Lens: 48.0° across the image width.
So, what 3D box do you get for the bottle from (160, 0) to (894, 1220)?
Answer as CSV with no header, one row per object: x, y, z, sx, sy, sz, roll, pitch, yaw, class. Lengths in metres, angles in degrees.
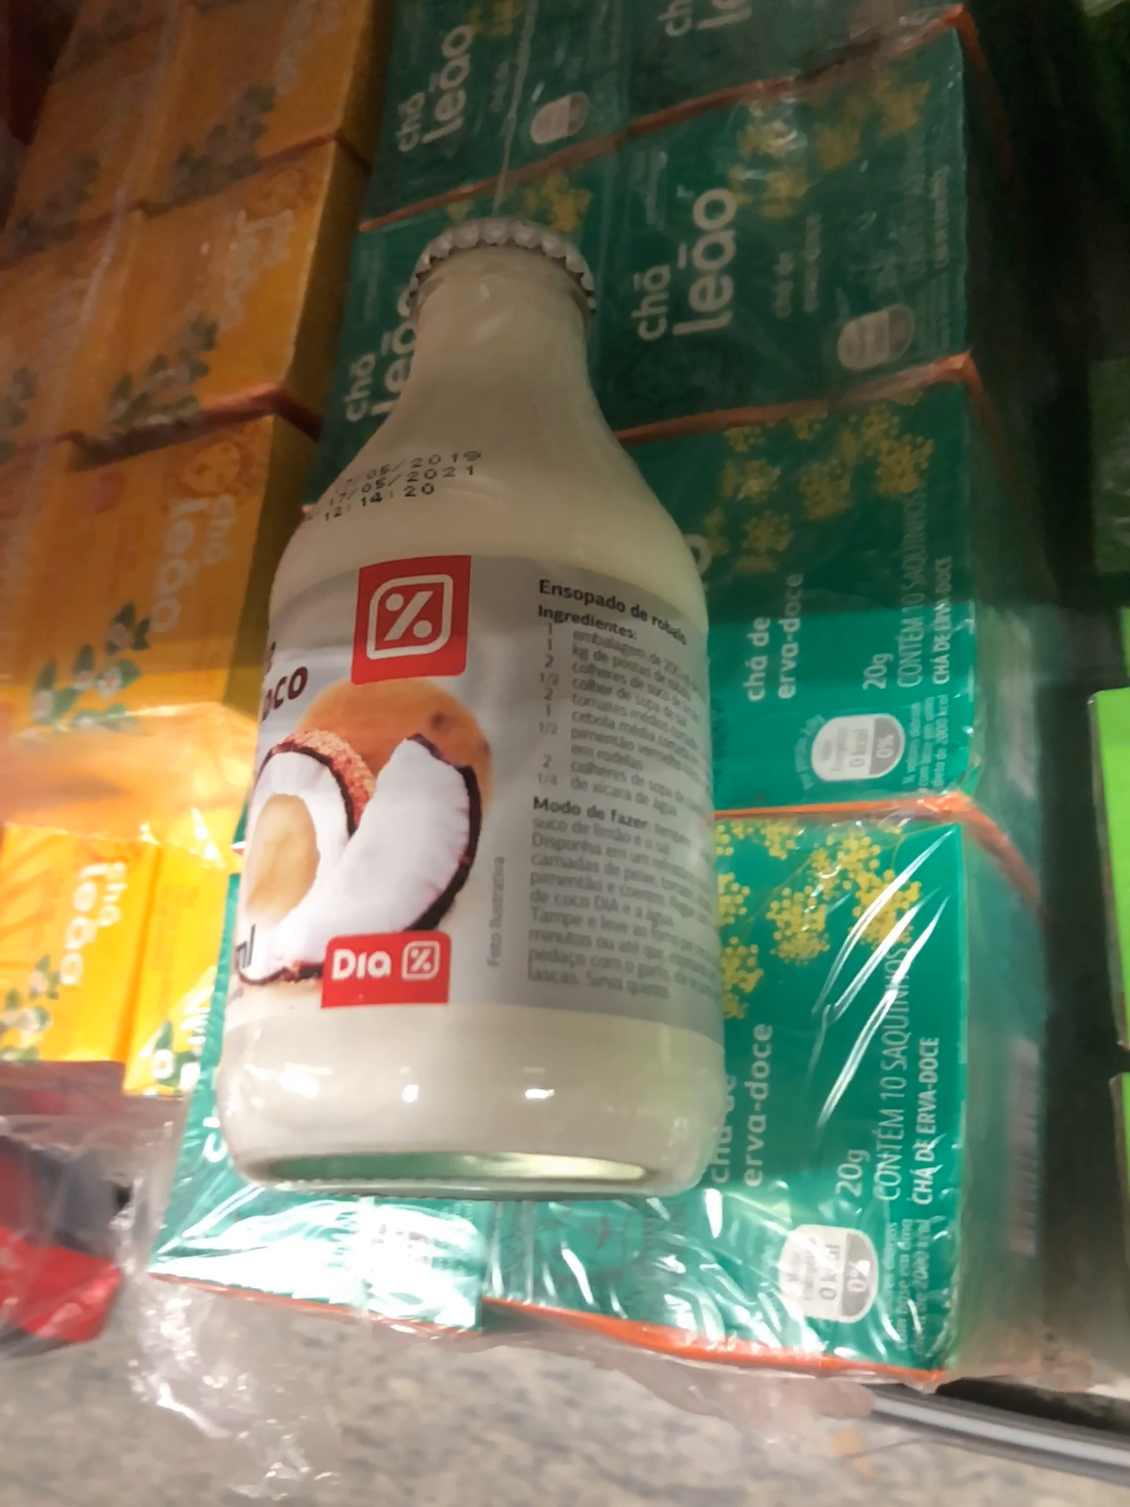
-0.001,-0.021,0.179,0.070,0.050,0.160,-10,65,27,bottle
